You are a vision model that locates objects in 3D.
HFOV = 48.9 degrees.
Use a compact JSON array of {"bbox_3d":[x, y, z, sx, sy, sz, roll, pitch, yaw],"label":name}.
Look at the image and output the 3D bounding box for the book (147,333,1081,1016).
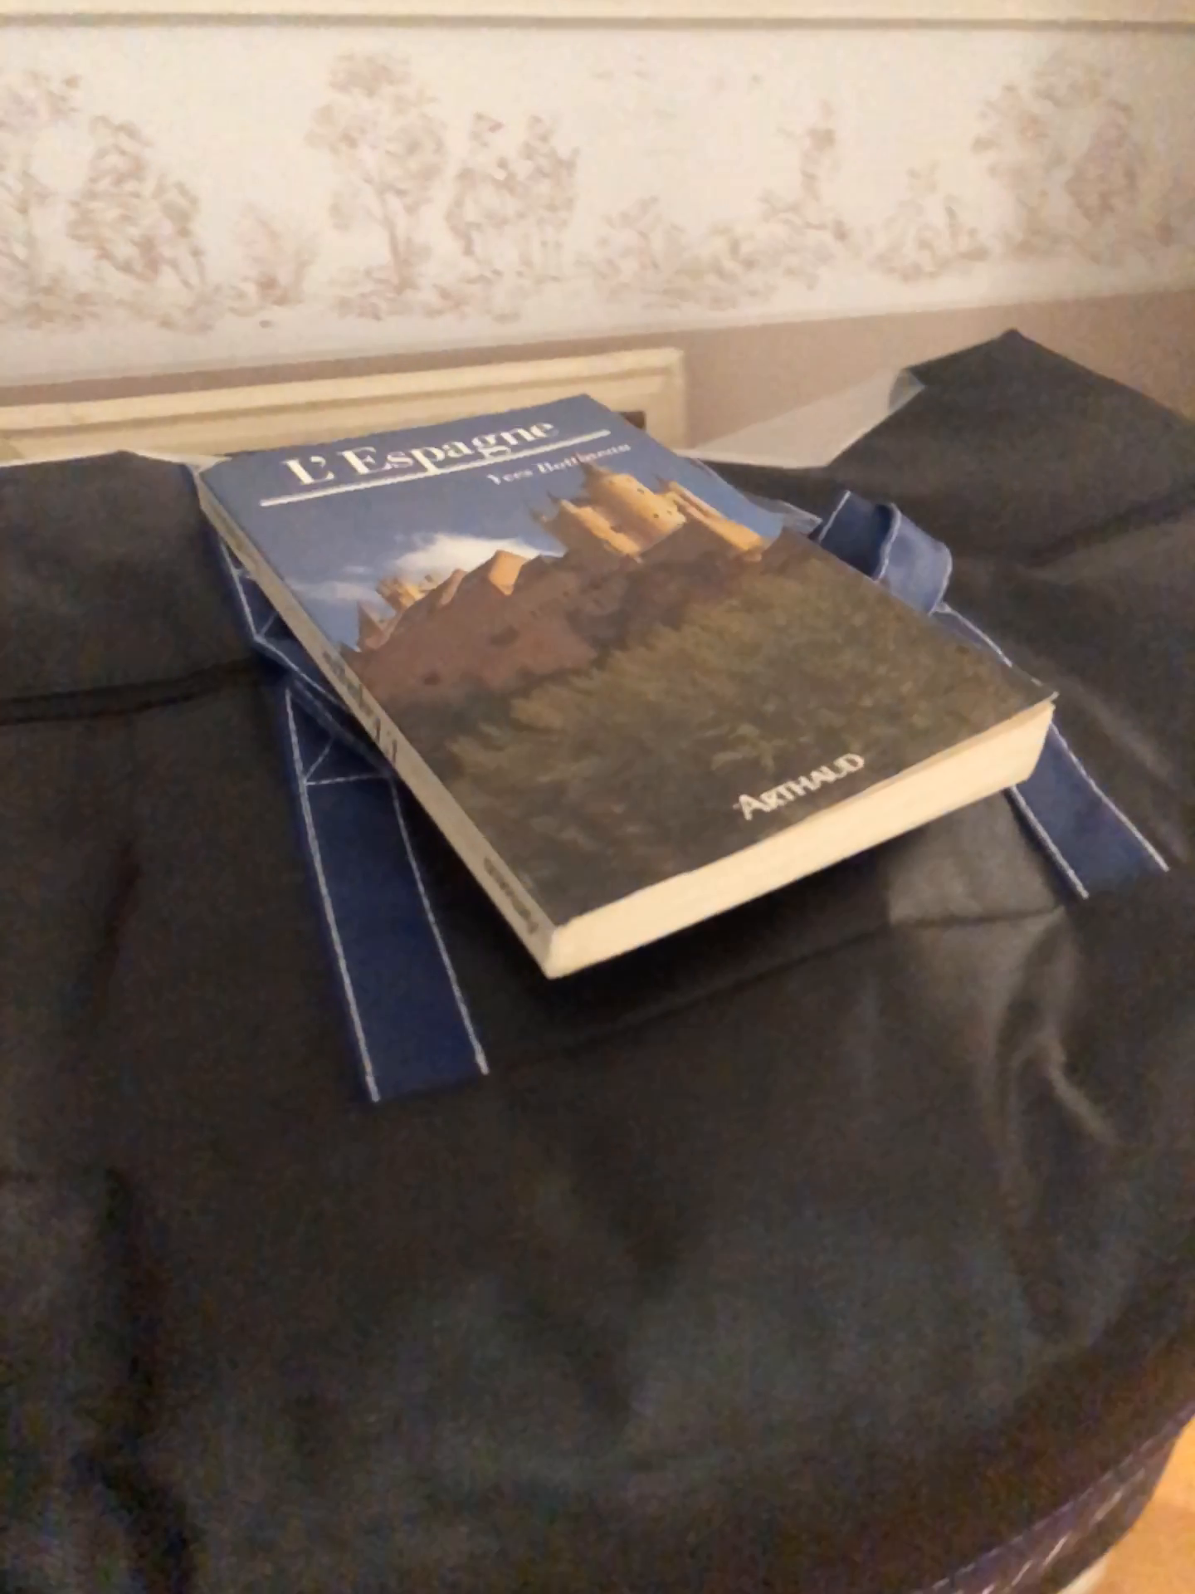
[{"bbox_3d":[-0.010,-0.064,0.402,0.171,0.030,0.251,-22,48,-25],"label":"book"}]
